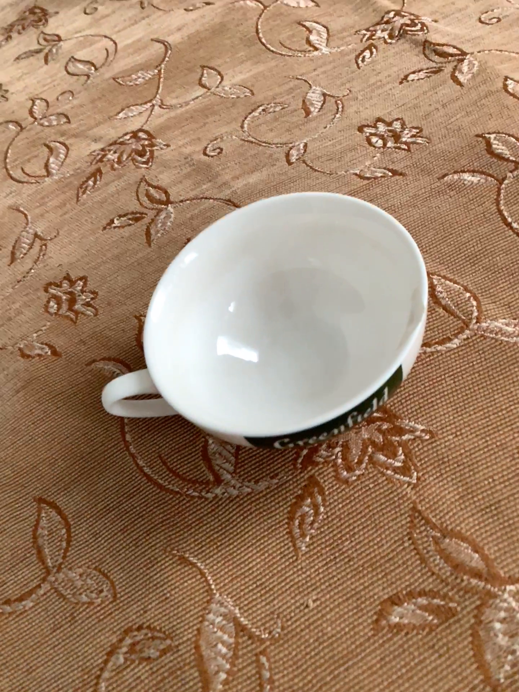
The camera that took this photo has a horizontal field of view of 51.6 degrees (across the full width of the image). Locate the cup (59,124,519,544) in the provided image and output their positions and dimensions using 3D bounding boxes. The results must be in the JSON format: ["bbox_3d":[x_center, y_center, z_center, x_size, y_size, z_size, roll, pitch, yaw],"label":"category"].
[{"bbox_3d":[0.004,-0.011,0.208,0.140,0.040,0.111,-27,54,0],"label":"cup"}]
